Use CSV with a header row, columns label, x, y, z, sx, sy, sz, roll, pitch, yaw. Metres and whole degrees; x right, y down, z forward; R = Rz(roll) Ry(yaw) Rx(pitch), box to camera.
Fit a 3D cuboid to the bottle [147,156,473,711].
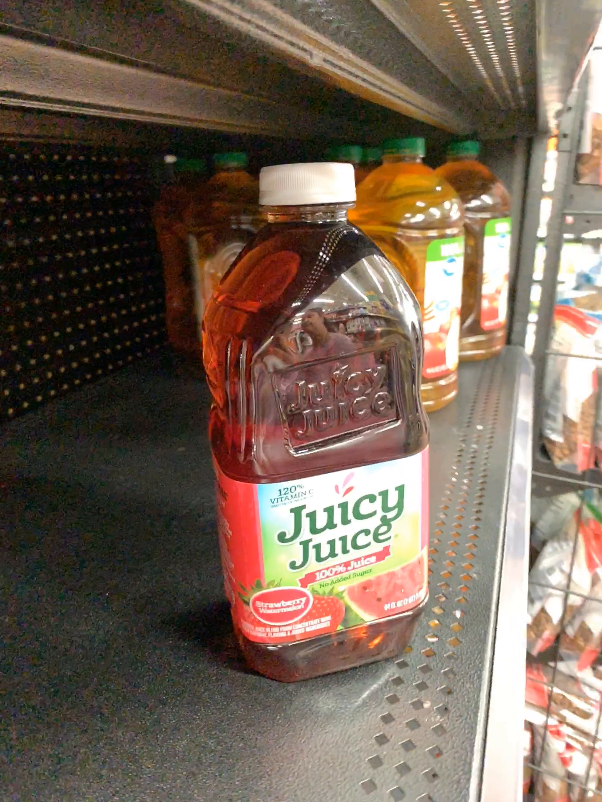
label,x,y,z,sx,sy,sz,roll,pitch,yaw
bottle,0.002,0.011,0.326,0.125,0.255,0.090,-8,21,-18
